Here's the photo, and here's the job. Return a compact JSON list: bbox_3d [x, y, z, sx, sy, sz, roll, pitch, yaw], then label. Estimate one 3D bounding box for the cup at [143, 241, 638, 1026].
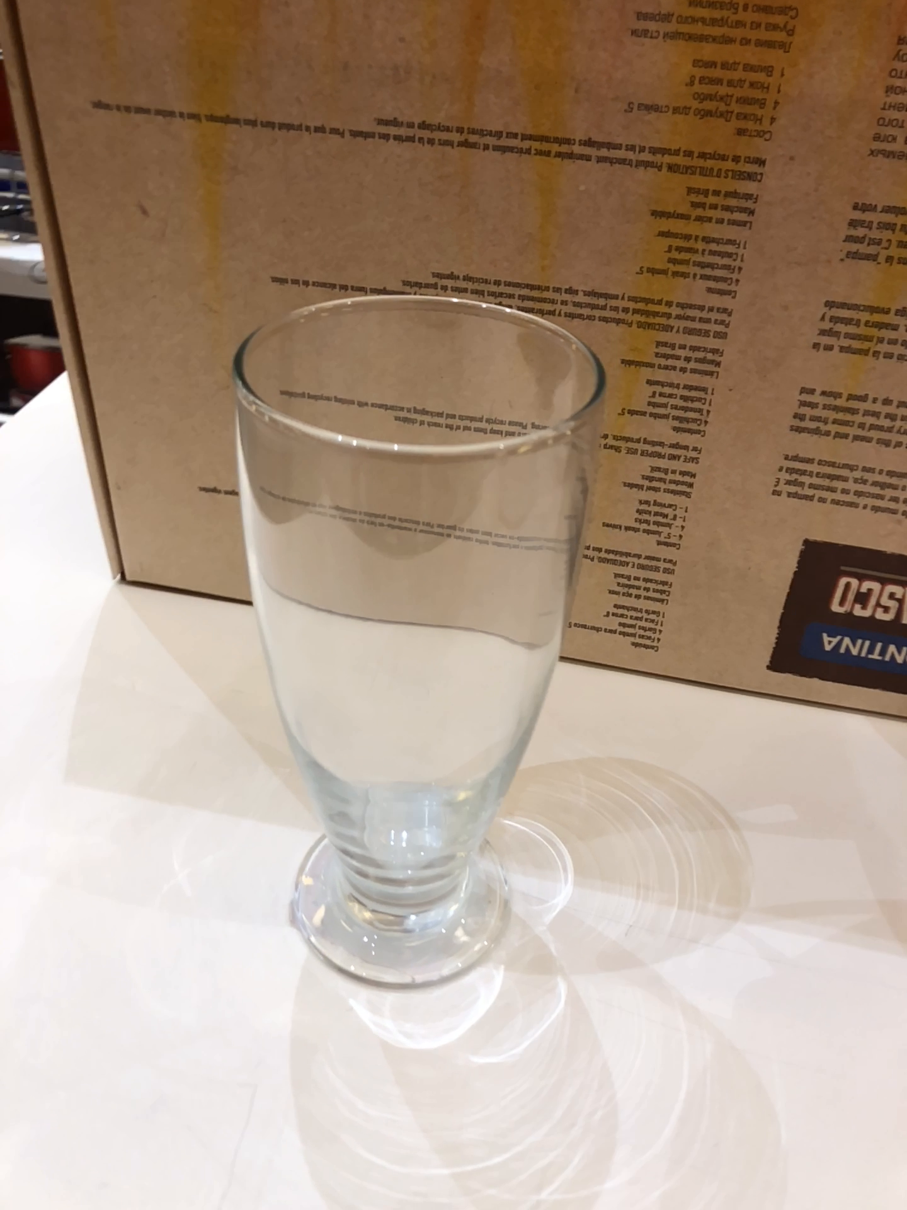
[{"bbox_3d":[-0.012,0.014,0.271,0.090,0.189,0.081,9,36,7],"label":"cup"}]
